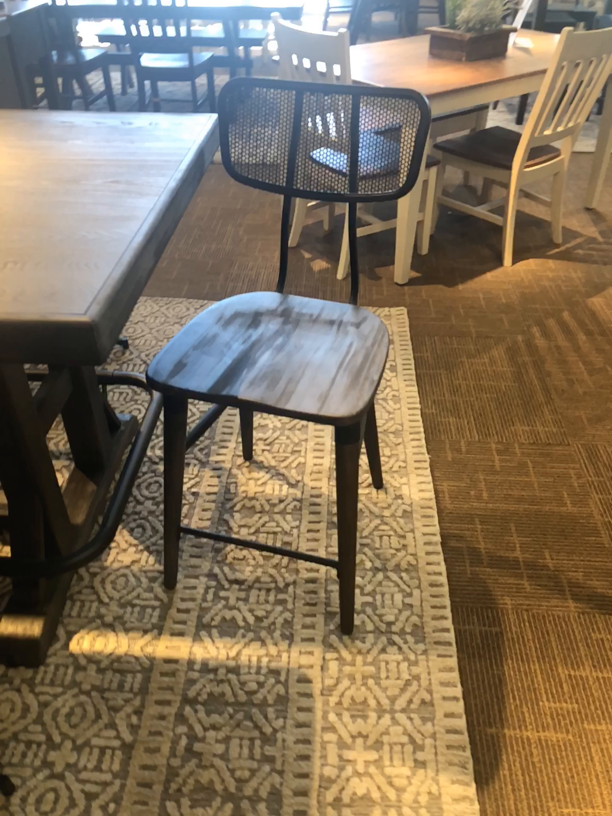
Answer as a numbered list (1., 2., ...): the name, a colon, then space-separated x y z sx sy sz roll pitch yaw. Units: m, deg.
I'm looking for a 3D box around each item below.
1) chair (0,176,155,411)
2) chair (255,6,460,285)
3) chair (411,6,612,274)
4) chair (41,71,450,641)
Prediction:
1. chair: -0.897 -0.376 2.083 0.634 0.488 0.522 6 37 7
2. chair: 0.171 -1.049 2.646 0.490 0.866 0.556 -23 43 -28
3. chair: 0.865 -1.105 2.723 0.586 0.846 0.521 -26 44 -31
4. chair: -0.049 -0.111 1.395 0.507 0.947 0.607 10 38 12
